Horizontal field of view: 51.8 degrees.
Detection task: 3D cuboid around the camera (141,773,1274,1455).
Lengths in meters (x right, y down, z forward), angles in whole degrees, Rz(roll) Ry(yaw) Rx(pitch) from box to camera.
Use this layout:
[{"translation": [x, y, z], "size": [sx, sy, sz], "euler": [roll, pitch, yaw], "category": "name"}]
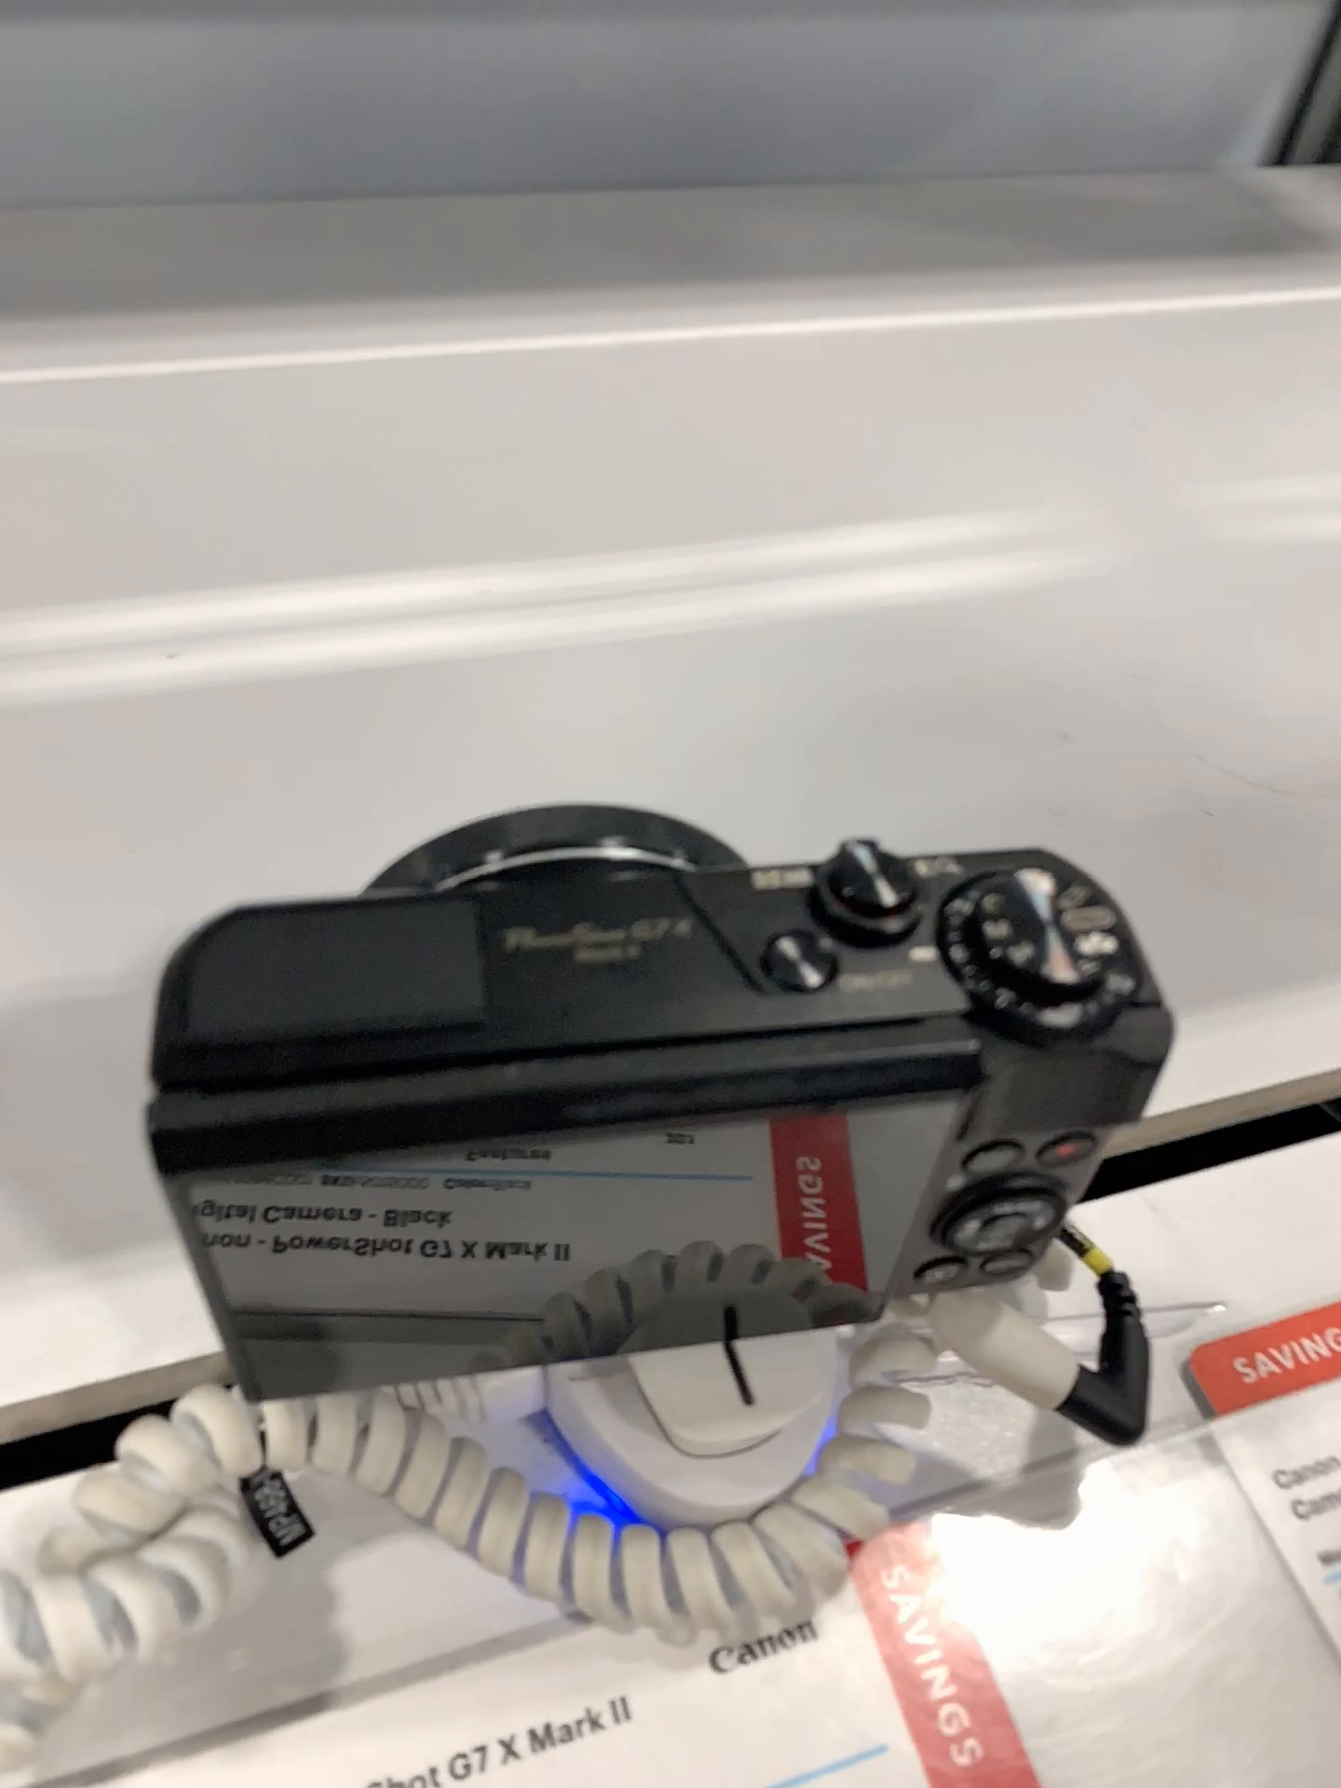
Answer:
[{"translation": [0.001, 0.025, 0.166], "size": [0.110, 0.060, 0.044], "euler": [-4, 49, -12], "category": "camera"}]
